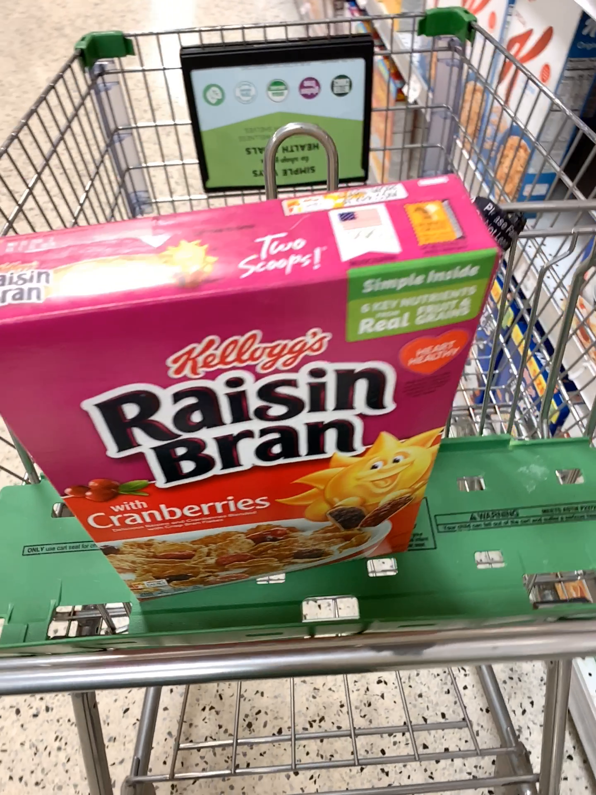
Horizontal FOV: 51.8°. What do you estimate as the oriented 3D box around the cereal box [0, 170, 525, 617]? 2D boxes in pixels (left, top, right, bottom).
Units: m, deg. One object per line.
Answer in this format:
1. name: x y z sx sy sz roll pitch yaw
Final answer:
1. cereal box: -0.024 0.038 0.360 0.210 0.327 0.050 -9 55 -5
